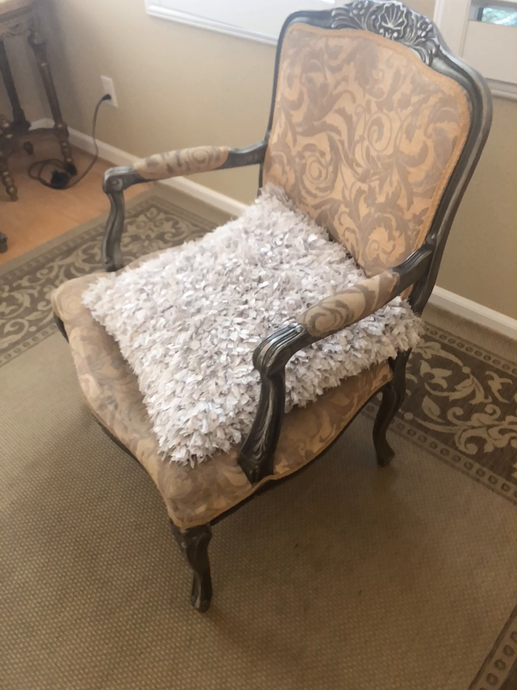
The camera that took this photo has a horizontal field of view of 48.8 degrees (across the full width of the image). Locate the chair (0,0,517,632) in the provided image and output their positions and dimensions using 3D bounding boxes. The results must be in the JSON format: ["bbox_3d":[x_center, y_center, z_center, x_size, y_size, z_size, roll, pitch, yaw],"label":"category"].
[{"bbox_3d":[-0.079,-0.137,1.141,0.652,0.972,0.764,-24,47,-21],"label":"chair"}]
